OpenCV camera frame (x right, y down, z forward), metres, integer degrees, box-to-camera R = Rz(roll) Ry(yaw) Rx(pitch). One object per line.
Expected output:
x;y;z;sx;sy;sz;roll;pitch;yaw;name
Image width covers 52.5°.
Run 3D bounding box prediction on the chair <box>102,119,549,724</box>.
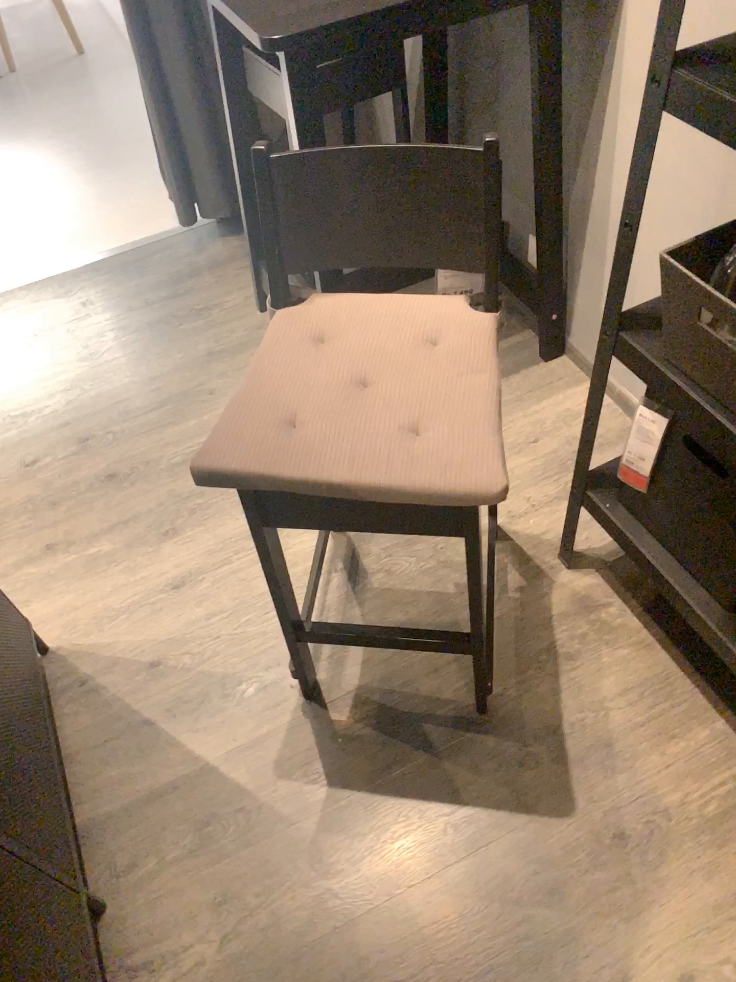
0.022;-0.046;1.247;0.460;0.887;0.501;2;51;9;chair
